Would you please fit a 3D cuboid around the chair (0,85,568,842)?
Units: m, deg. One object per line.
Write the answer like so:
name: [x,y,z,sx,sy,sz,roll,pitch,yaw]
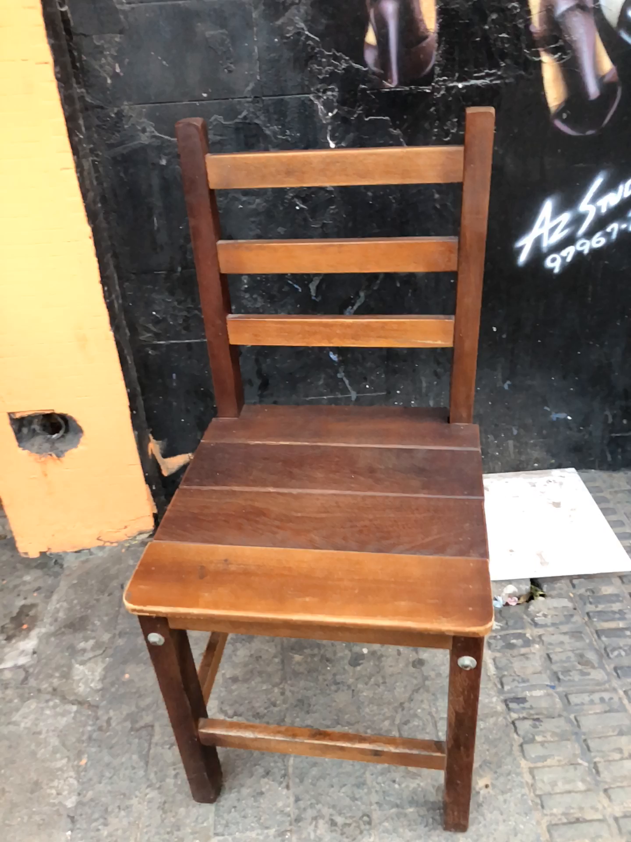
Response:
chair: [0.020,0.059,0.970,0.460,0.894,0.503,2,30,10]
